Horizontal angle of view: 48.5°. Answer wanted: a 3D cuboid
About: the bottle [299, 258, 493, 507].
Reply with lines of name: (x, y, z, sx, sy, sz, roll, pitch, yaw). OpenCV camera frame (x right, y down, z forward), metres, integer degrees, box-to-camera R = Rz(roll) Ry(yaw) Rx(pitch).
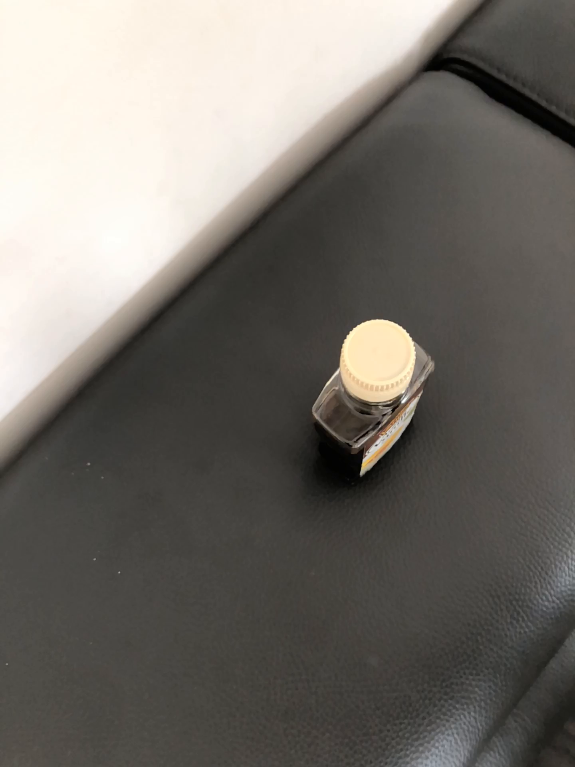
bottle: (0.047, 0.012, 0.325, 0.040, 0.160, 0.070, 40, 78, 15)
